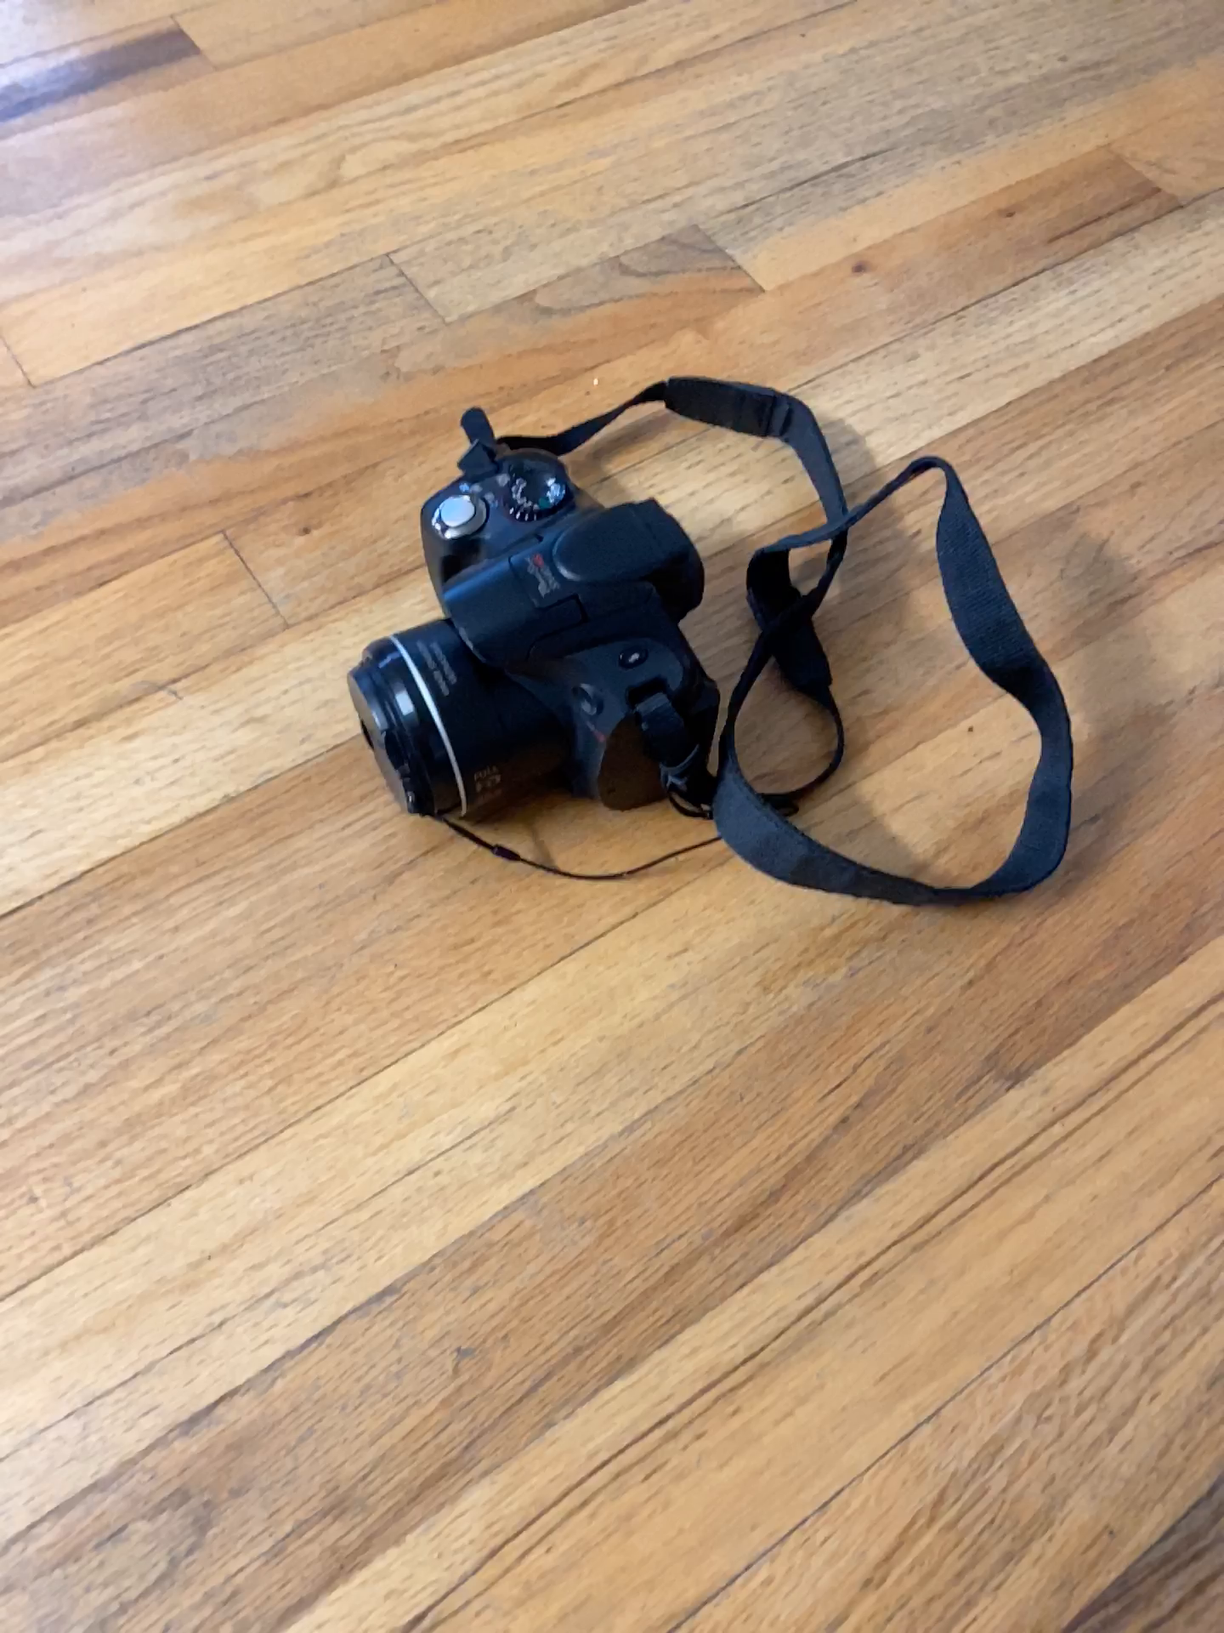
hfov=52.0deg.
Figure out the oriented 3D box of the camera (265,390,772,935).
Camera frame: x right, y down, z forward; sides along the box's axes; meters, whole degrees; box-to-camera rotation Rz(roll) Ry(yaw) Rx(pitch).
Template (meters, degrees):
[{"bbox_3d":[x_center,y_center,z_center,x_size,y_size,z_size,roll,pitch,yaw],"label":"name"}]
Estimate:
[{"bbox_3d":[-0.032,-0.052,0.442,0.120,0.110,0.110,-27,65,-16],"label":"camera"}]
